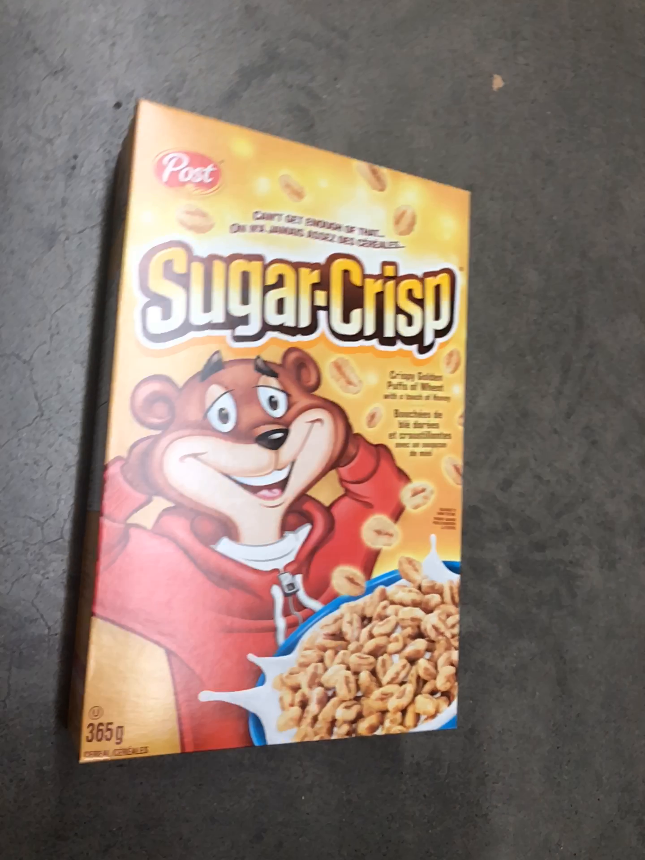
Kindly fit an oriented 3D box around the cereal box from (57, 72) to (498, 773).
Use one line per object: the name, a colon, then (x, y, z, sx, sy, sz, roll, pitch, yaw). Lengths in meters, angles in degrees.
cereal box: (-0.014, 0.001, 0.368, 0.201, 0.060, 0.300, 6, 83, -23)
